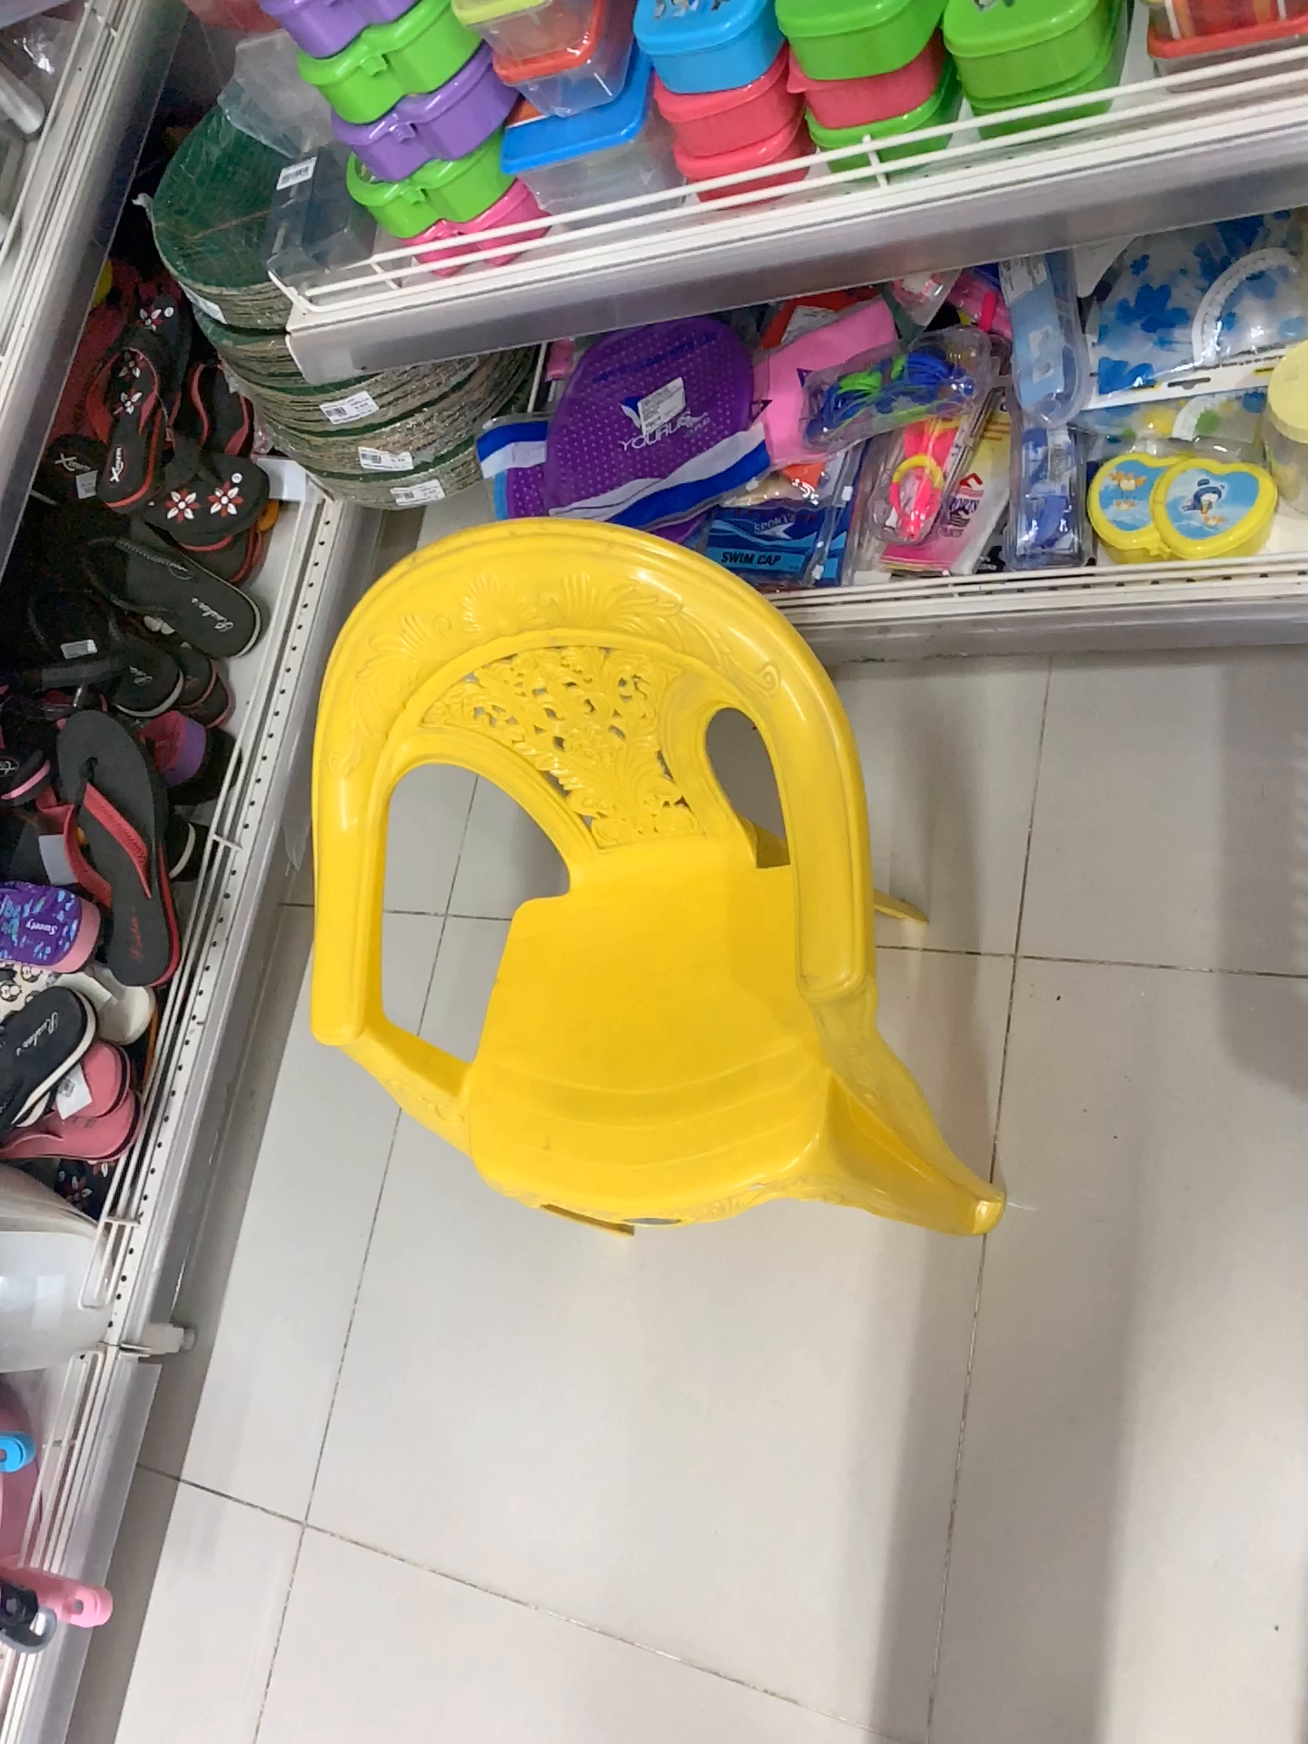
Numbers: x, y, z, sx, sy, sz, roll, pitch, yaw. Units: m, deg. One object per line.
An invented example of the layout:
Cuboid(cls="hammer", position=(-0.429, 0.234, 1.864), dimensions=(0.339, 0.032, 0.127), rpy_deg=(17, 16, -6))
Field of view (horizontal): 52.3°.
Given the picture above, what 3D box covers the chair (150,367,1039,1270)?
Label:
Cuboid(cls="chair", position=(0.002, 0.028, 0.951), dimensions=(0.421, 0.448, 0.460), rpy_deg=(-7, 69, 26))
